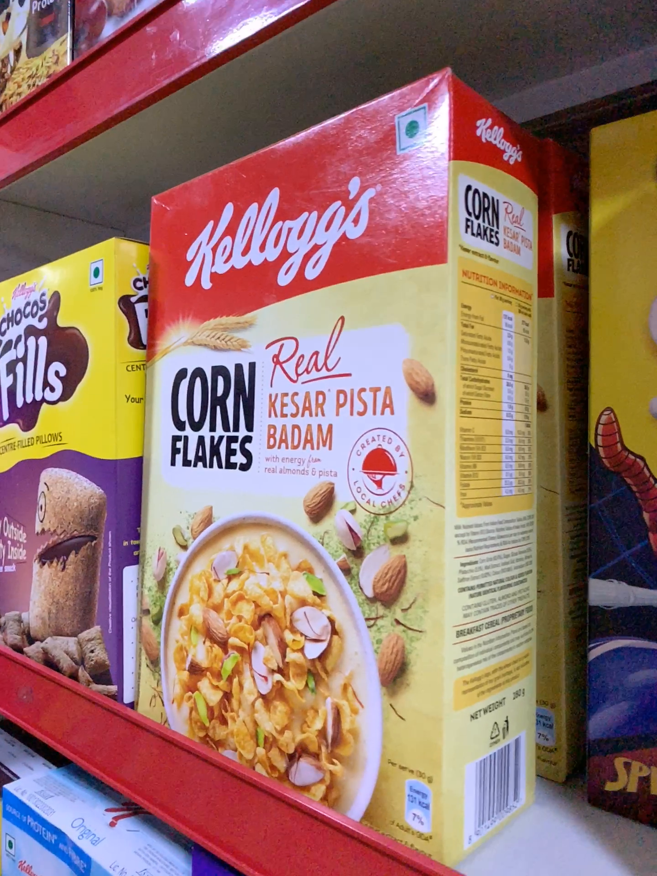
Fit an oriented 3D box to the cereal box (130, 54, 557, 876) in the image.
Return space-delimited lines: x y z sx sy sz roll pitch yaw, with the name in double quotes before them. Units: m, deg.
"cereal box" -0.005 0.010 0.289 0.180 0.250 0.070 0 -1 44
